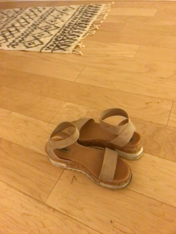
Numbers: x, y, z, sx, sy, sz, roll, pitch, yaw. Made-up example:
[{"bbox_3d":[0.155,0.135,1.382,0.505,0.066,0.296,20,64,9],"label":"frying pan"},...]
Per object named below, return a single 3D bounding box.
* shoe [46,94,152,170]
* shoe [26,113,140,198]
[{"bbox_3d":[0.033,0.038,0.582,0.280,0.119,0.111,15,52,23],"label":"shoe"},{"bbox_3d":[-0.011,0.096,0.535,0.280,0.109,0.111,15,52,24],"label":"shoe"}]
